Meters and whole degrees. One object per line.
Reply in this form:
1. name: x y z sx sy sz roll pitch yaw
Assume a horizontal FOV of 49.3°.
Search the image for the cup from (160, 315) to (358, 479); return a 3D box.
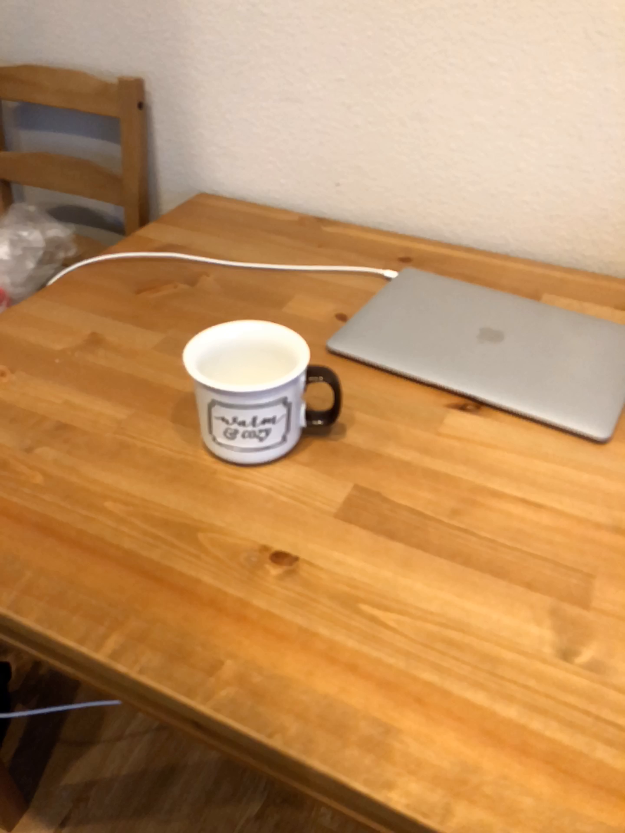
1. cup: -0.039 -0.021 0.601 0.150 0.080 0.121 4 38 4
